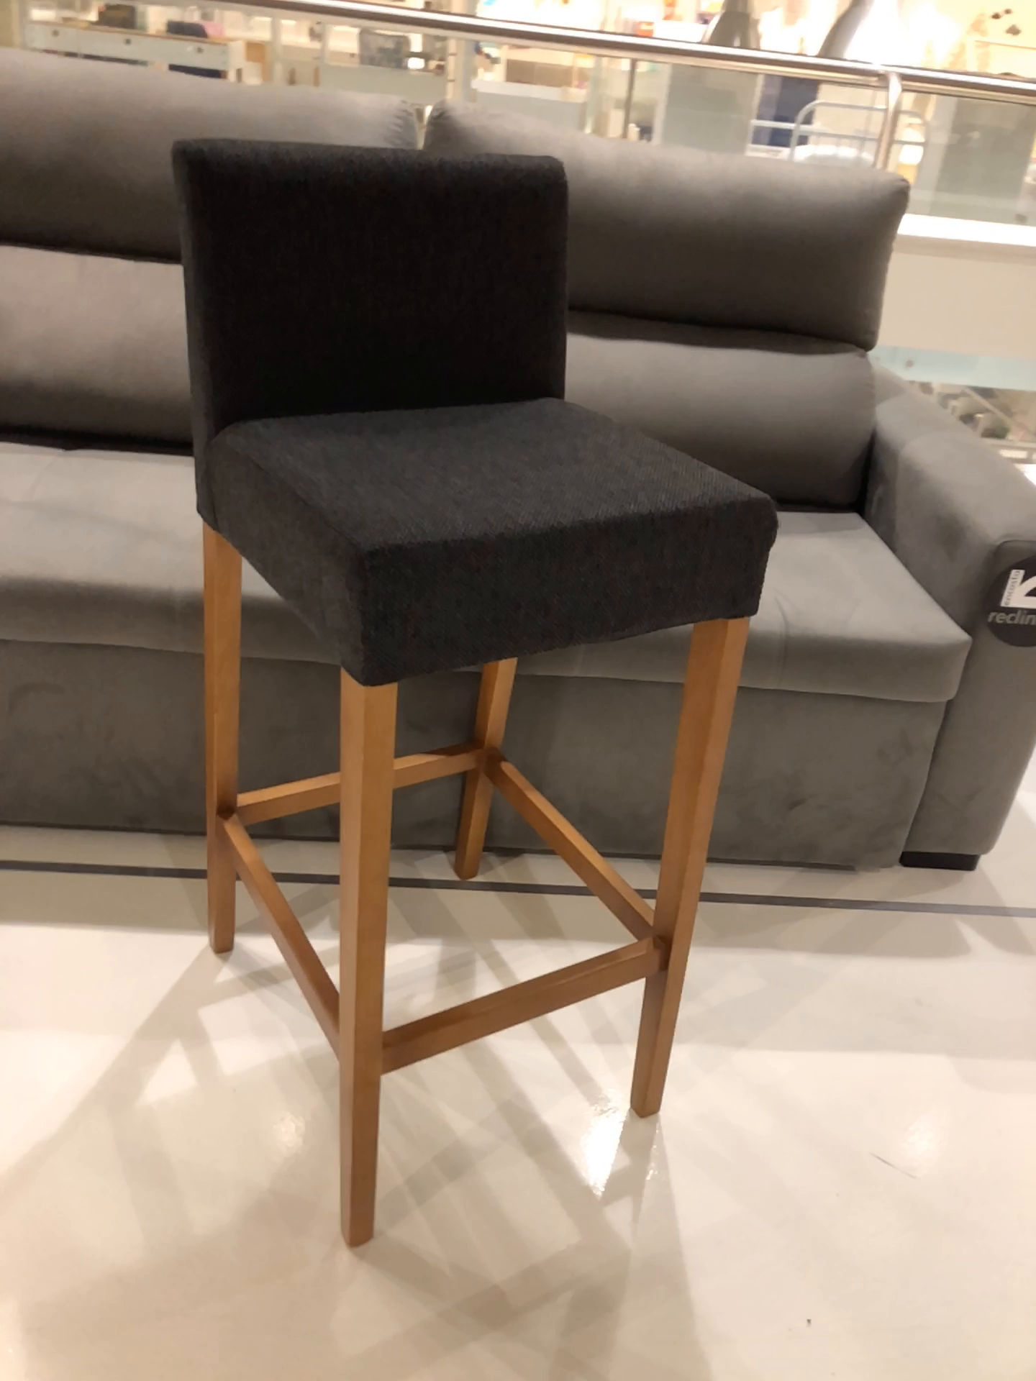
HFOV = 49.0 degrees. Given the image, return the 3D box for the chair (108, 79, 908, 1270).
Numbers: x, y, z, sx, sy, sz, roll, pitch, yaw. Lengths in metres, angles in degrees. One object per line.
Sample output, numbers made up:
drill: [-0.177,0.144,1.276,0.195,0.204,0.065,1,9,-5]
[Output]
chair: [-0.098,-0.046,1.185,0.451,0.973,0.583,-10,32,-30]
